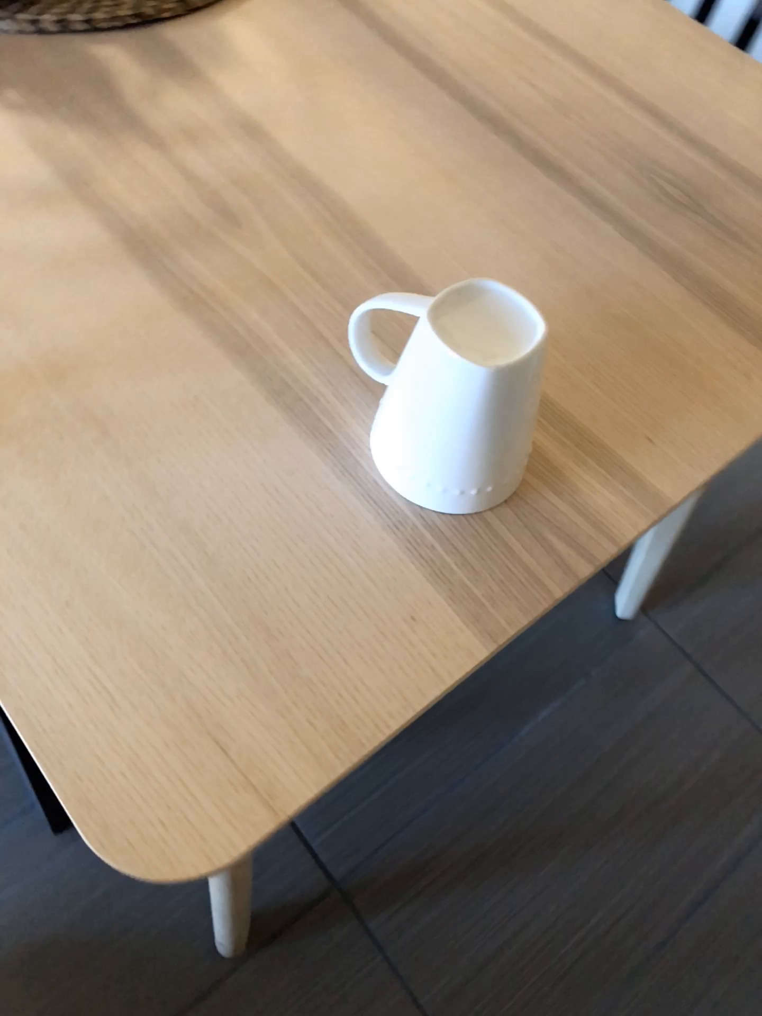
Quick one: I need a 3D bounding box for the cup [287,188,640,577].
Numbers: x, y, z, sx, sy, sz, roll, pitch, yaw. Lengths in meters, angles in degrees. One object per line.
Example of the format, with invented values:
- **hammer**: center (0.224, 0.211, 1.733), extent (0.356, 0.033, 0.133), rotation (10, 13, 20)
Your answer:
- **cup**: center (0.034, -0.066, 0.459), extent (0.140, 0.120, 0.100), rotation (41, 63, 17)
